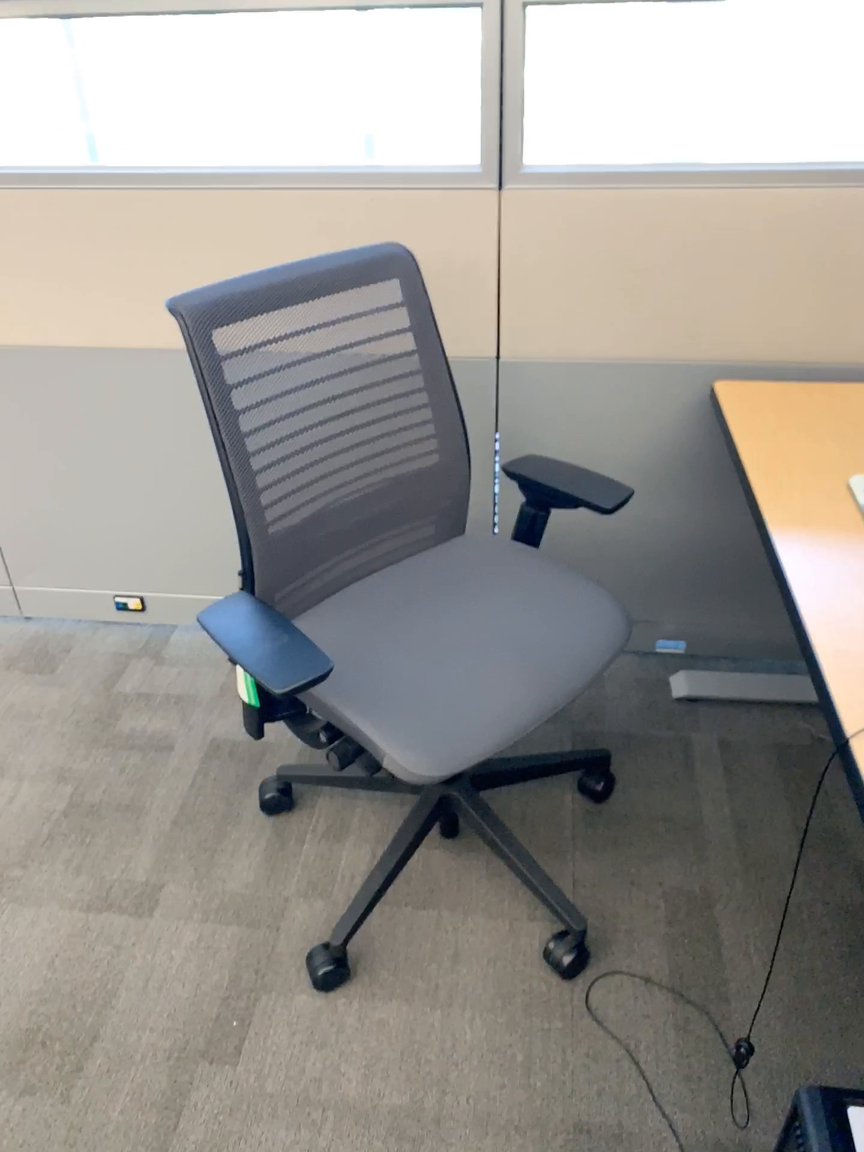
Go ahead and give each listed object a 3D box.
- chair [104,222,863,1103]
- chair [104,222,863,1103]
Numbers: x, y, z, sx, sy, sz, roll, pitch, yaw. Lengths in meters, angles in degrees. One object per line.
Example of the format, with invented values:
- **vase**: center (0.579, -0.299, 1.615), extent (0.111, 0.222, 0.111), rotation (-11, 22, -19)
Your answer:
- **chair**: center (0.092, 0.069, 1.564), extent (0.771, 1.084, 0.804), rotation (-29, 42, -35)
- **chair**: center (0.092, 0.069, 1.564), extent (0.771, 1.084, 0.804), rotation (-29, 42, -35)
